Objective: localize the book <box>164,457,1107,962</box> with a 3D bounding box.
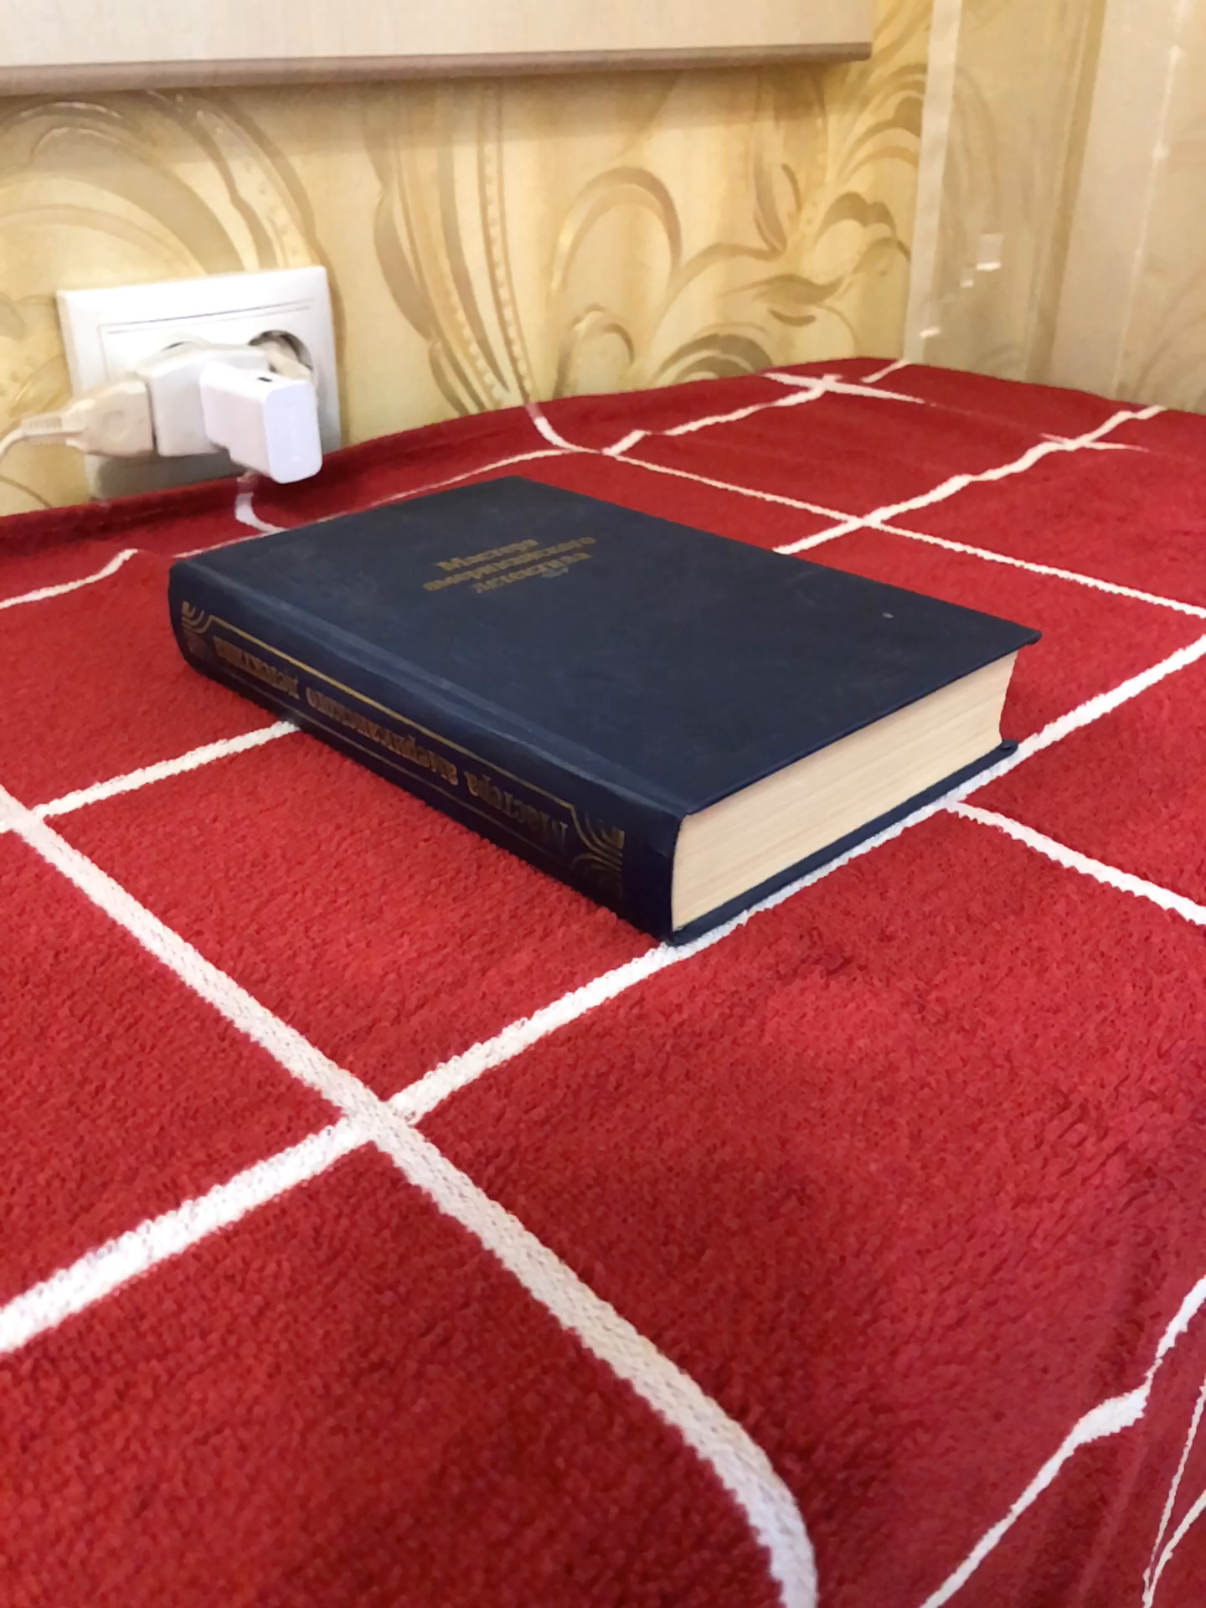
[{"bbox_3d":[0.002,-0.043,0.345,0.143,0.030,0.194,-26,38,-37],"label":"book"}]
